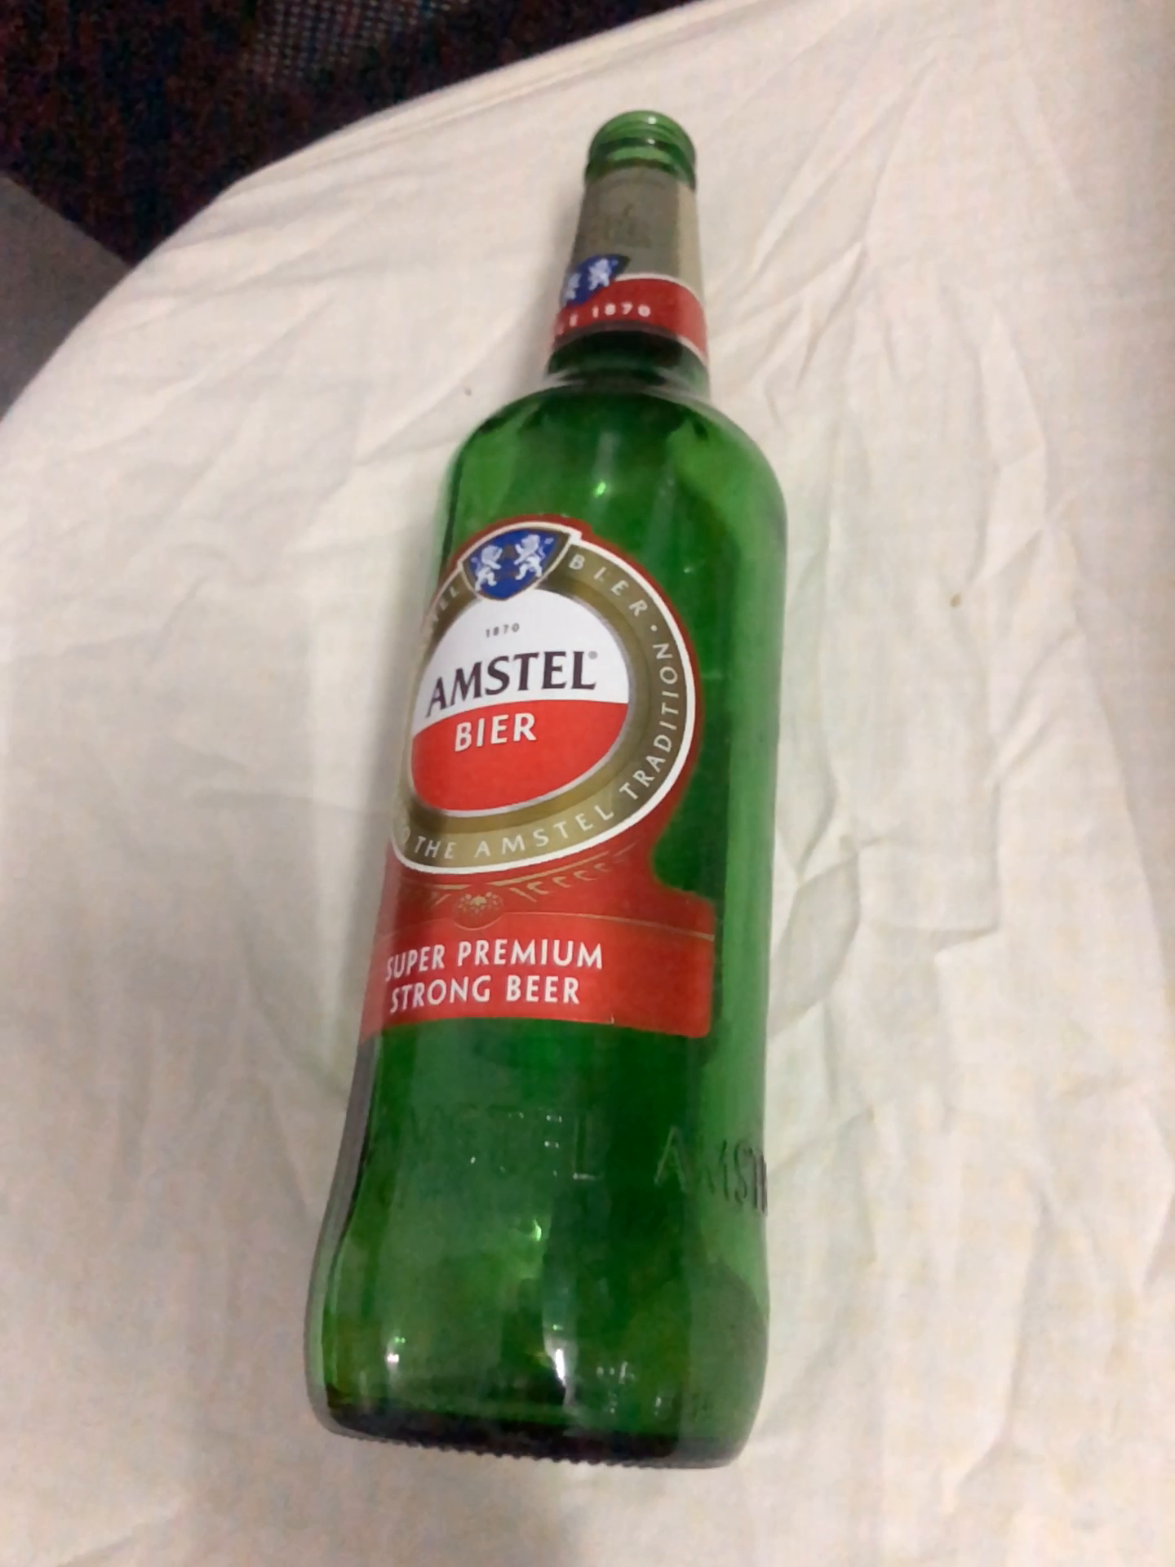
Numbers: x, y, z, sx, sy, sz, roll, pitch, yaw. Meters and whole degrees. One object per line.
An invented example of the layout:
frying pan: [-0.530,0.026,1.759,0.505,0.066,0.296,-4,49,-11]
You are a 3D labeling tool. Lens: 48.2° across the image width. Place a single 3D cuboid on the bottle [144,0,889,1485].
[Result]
bottle: [0.011,-0.056,0.287,0.090,0.080,0.360,-4,62,22]
